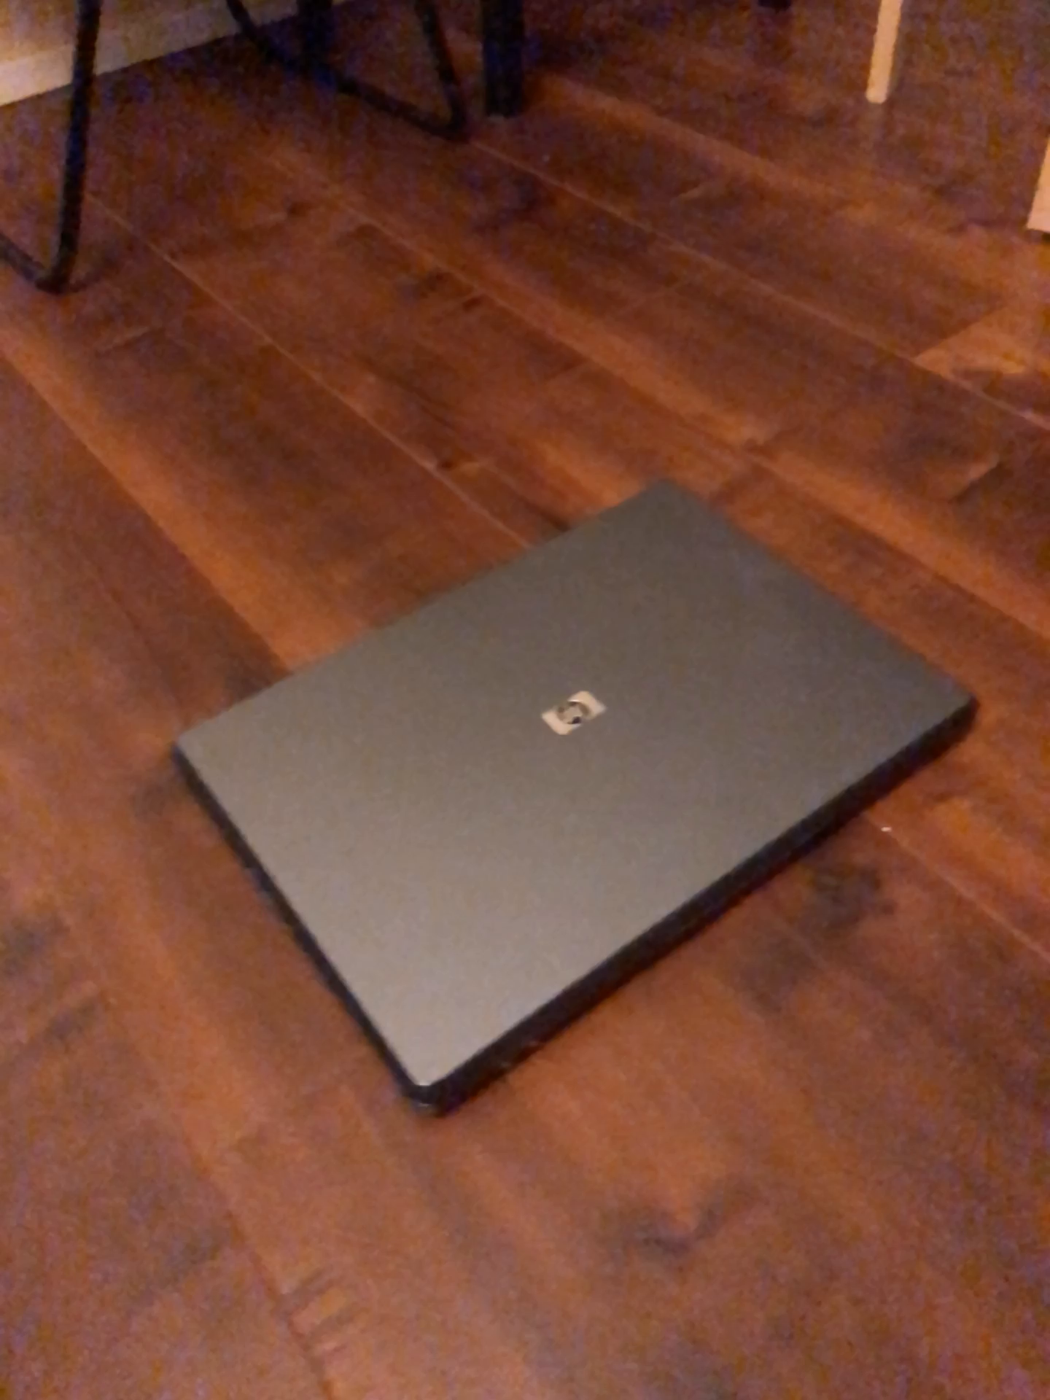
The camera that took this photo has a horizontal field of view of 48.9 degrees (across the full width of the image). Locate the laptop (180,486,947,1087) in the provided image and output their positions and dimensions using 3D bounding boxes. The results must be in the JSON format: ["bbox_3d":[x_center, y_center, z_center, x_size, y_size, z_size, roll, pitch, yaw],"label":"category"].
[{"bbox_3d":[0.018,0.011,0.564,0.310,0.005,0.217,-31,53,-22],"label":"laptop"}]
